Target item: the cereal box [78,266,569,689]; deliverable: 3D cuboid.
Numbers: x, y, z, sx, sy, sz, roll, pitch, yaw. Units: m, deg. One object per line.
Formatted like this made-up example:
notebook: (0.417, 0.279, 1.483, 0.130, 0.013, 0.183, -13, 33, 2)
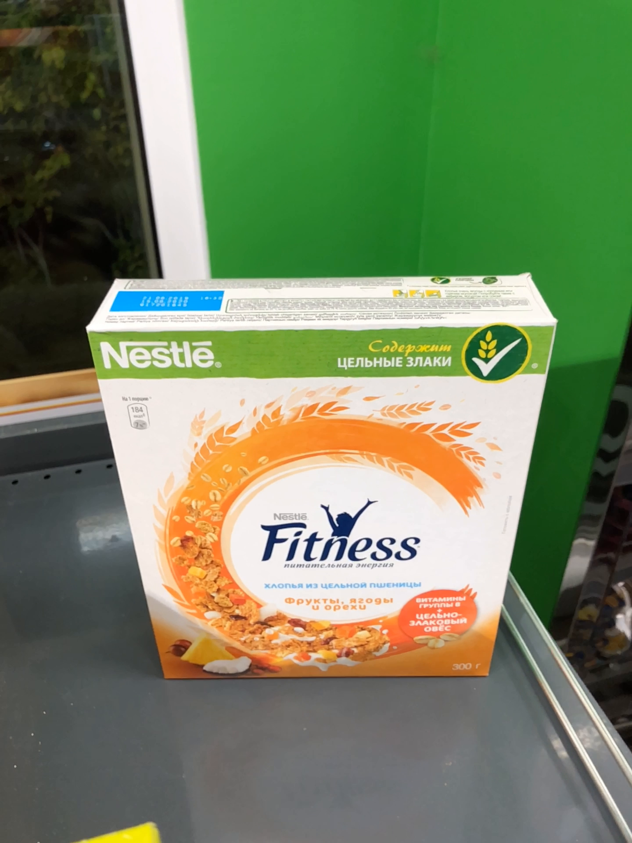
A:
cereal box: (0.004, 0.042, 0.376, 0.200, 0.239, 0.060, 0, 33, 1)
